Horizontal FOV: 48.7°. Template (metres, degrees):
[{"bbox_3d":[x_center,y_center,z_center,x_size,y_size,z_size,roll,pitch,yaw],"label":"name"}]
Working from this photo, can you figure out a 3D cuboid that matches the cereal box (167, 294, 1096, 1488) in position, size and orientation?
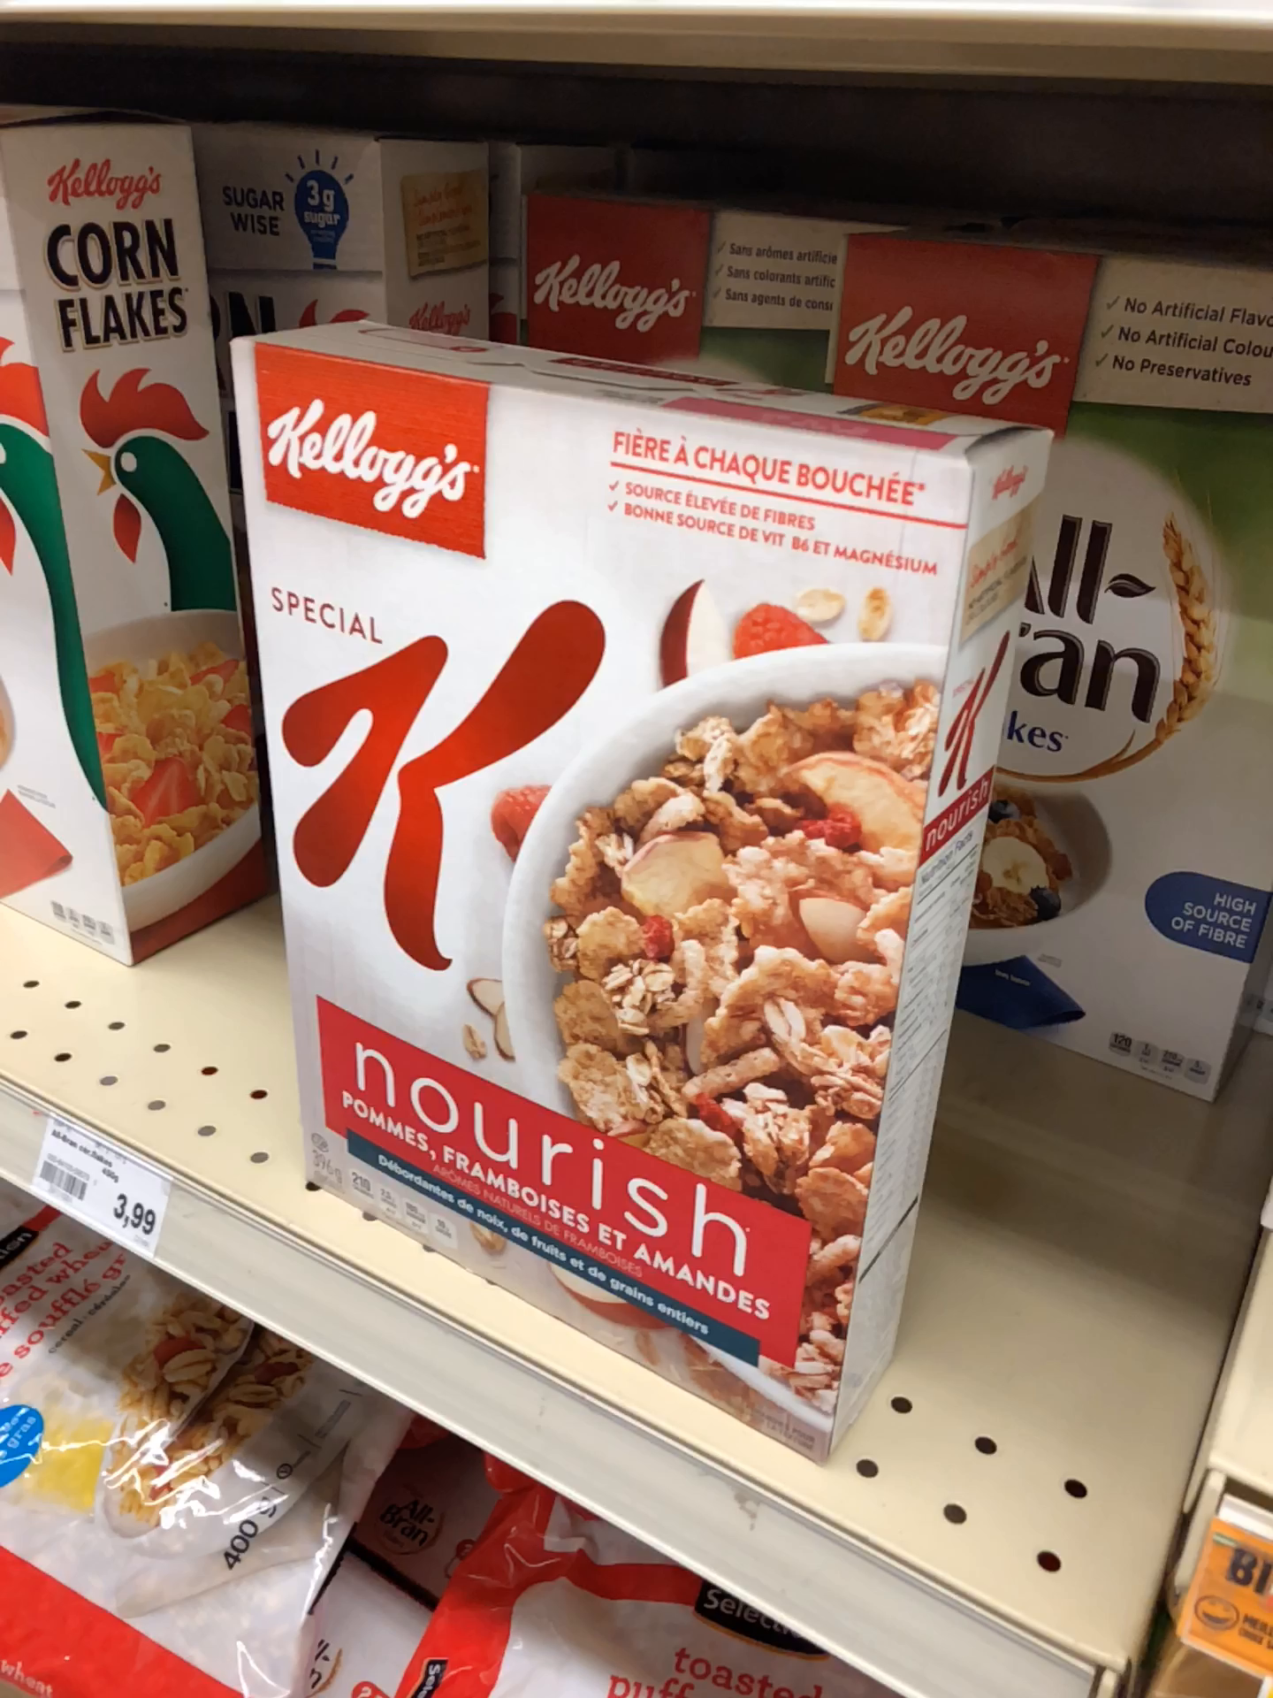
[{"bbox_3d":[-0.015,0.004,0.356,0.201,0.248,0.060,19,31,30],"label":"cereal box"}]
